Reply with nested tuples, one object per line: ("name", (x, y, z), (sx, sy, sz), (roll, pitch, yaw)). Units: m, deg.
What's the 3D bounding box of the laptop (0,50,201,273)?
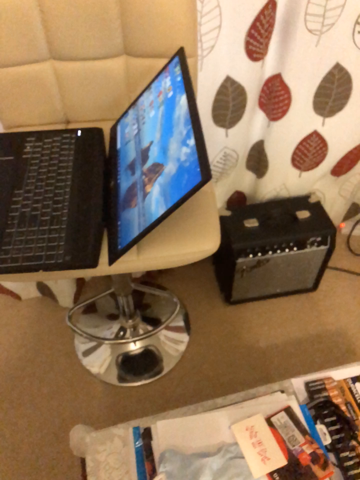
("laptop", (-0.187, -0.149, 0.665), (0.400, 0.159, 0.349), (-4, 51, -4))
